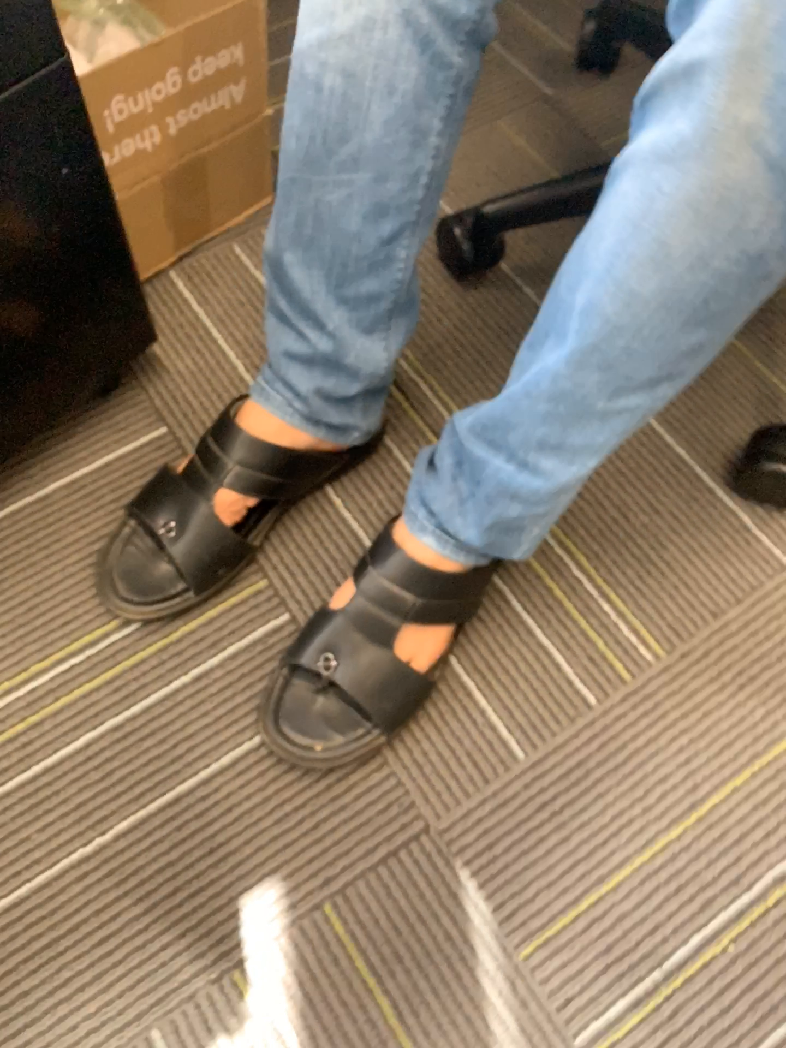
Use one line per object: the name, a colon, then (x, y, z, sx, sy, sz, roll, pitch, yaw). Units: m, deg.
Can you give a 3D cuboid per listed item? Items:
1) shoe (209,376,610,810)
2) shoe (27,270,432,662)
shoe: (0.021, 0.048, 0.639, 0.118, 0.116, 0.316, 36, 68, 16)
shoe: (-0.118, -0.053, 0.683, 0.118, 0.116, 0.316, 39, 69, 17)
